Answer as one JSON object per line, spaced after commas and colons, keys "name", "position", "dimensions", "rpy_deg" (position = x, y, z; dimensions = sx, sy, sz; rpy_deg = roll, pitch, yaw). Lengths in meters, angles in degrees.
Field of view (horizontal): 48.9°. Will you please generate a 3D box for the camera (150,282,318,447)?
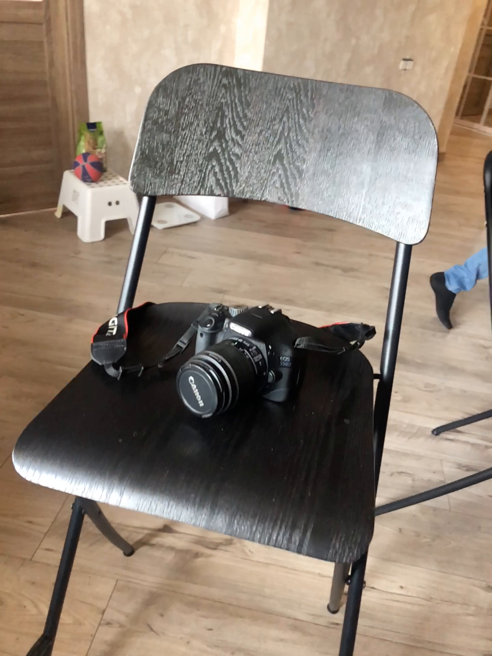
{"name": "camera", "position": [-0.014, 0.032, 0.607], "dimensions": [0.120, 0.092, 0.141], "rpy_deg": [26, 36, 28]}
